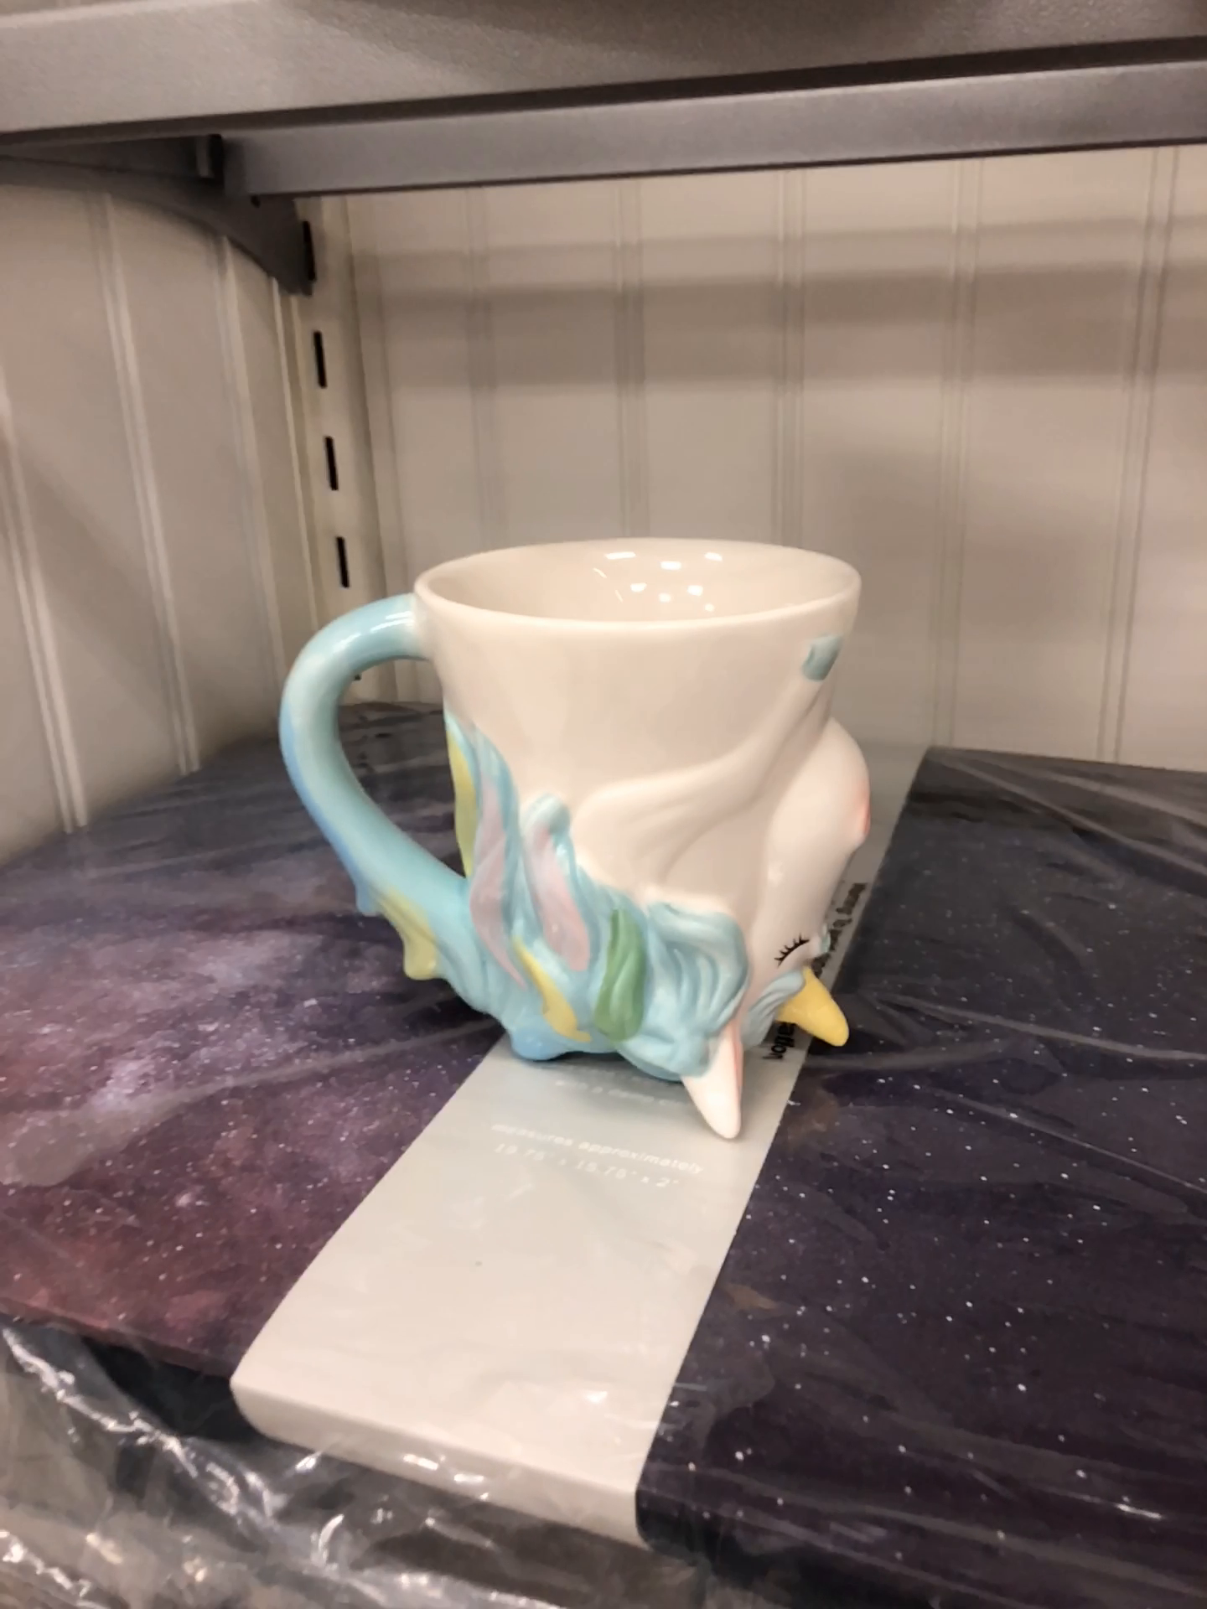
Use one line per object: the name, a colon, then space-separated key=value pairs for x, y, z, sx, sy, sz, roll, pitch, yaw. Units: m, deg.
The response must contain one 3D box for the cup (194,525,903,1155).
cup: x=-0.004 y=0.001 z=0.326 sx=0.140 sy=0.118 sz=0.101 roll=1 pitch=21 yaw=9
